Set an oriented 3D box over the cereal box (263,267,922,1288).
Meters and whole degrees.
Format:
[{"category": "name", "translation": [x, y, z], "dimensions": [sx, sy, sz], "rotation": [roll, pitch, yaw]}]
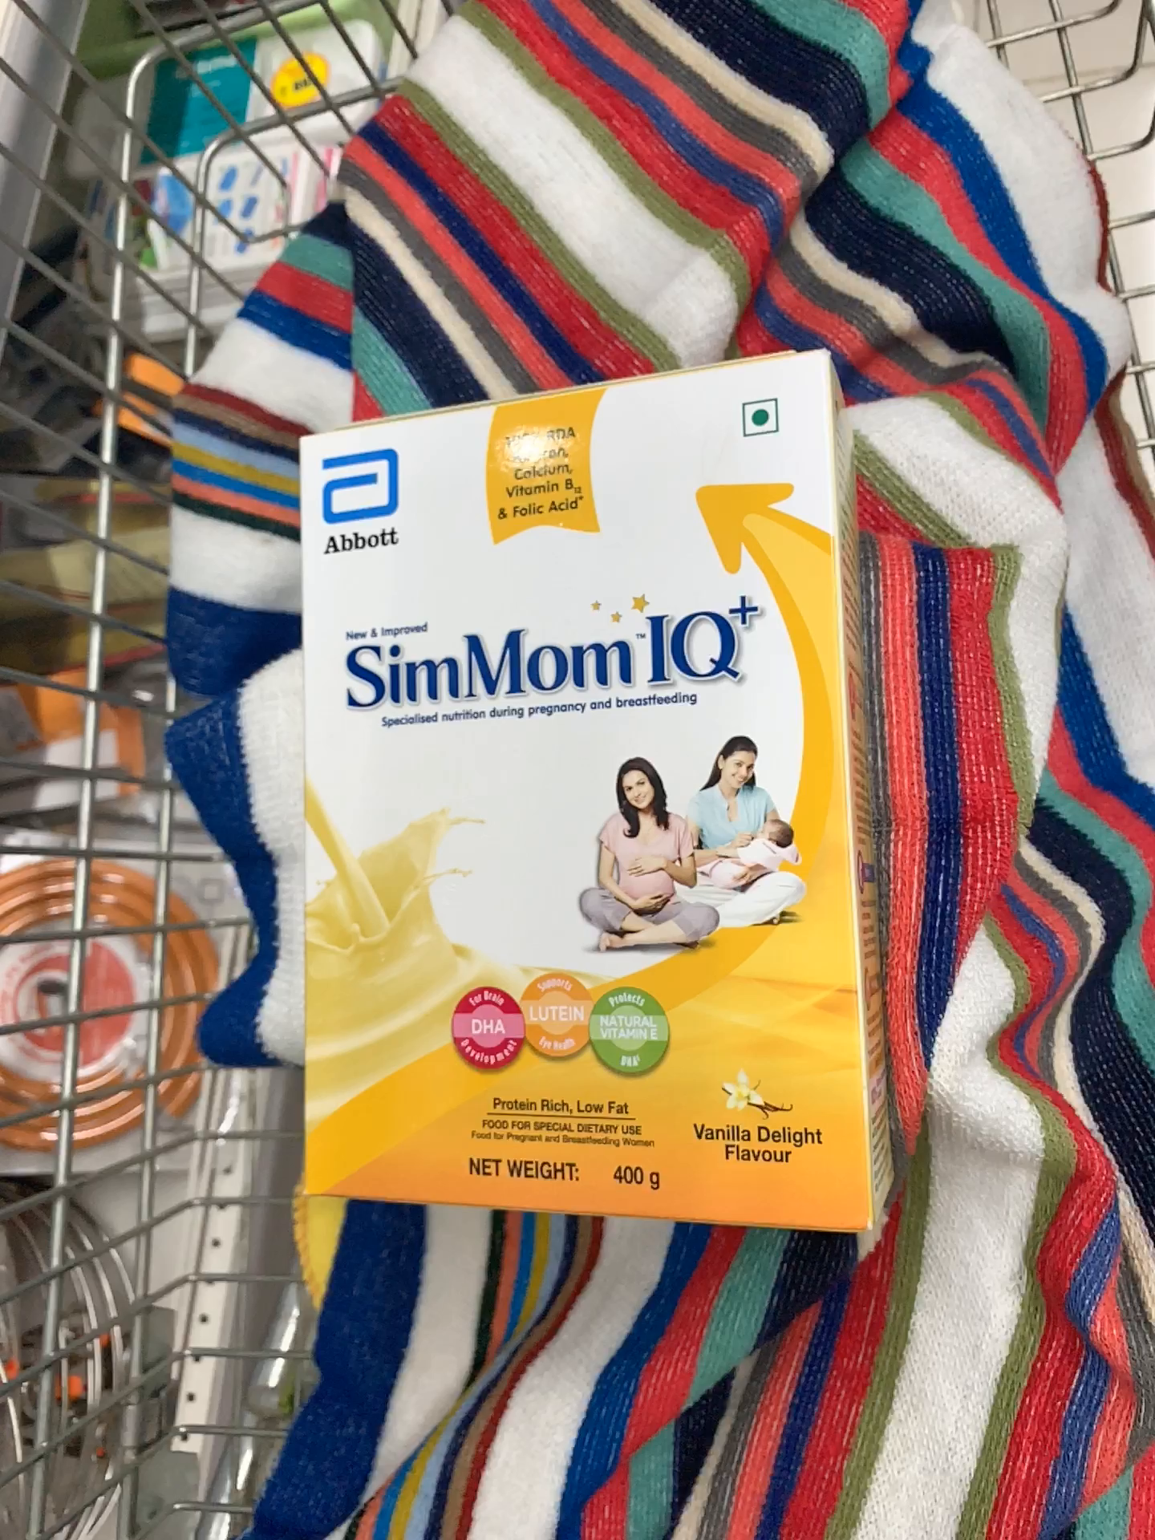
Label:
[{"category": "cereal box", "translation": [0.002, 0.003, 0.279], "dimensions": [0.140, 0.050, 0.200], "rotation": [-3, 84, 18]}]
